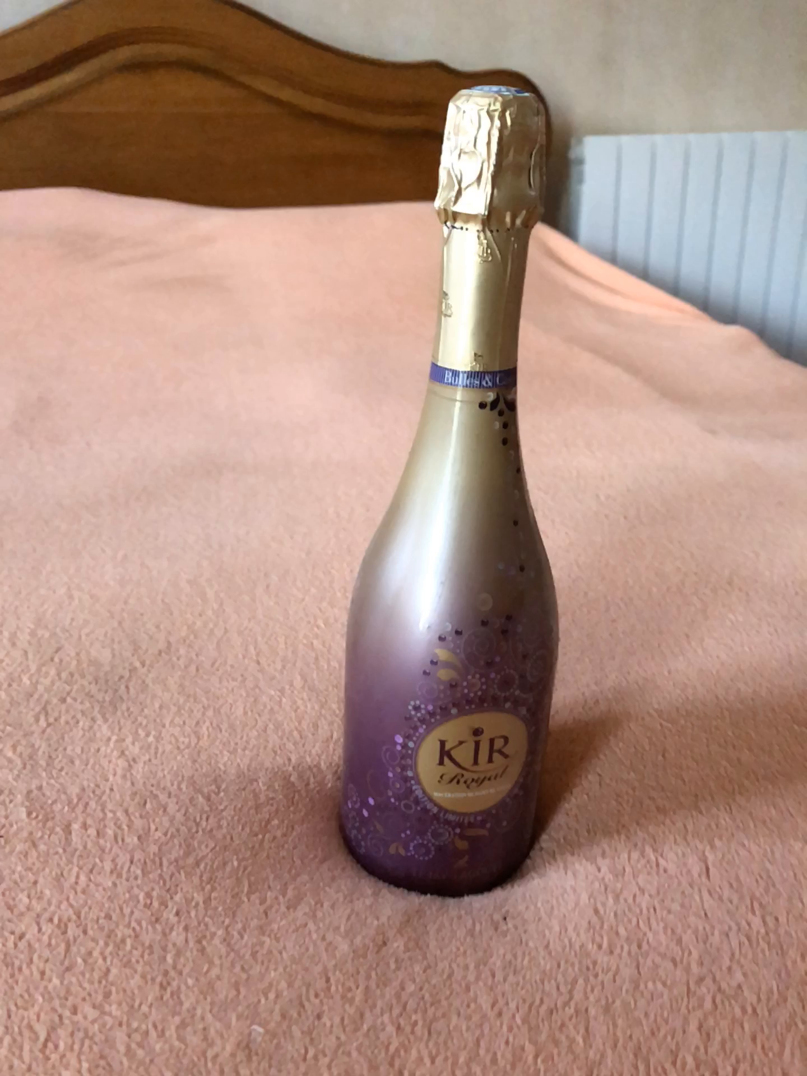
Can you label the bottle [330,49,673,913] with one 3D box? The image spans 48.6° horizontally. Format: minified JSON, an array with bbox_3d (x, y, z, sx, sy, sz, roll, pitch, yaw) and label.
[{"bbox_3d":[0.022,-0.011,0.350,0.090,0.308,0.090,1,23,0],"label":"bottle"}]
